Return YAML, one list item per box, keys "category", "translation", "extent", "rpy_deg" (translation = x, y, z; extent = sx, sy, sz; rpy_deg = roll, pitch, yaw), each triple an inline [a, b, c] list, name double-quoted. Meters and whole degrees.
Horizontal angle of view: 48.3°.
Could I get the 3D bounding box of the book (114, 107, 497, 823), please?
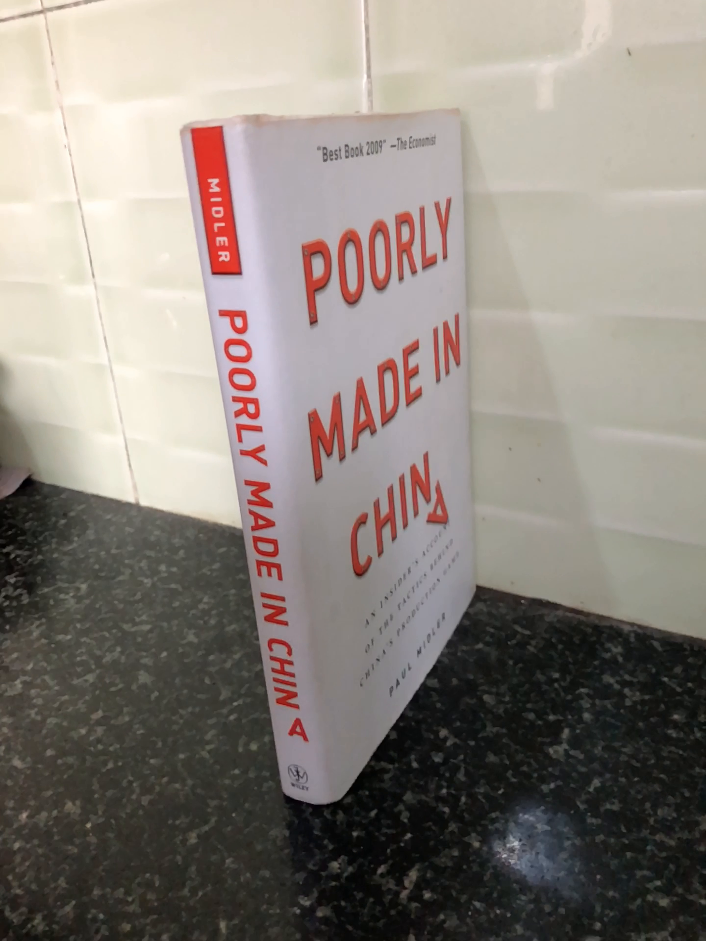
- category: "book"
  translation: [0.008, -0.020, 0.310]
  extent: [0.040, 0.219, 0.191]
  rpy_deg: [8, 26, 26]
